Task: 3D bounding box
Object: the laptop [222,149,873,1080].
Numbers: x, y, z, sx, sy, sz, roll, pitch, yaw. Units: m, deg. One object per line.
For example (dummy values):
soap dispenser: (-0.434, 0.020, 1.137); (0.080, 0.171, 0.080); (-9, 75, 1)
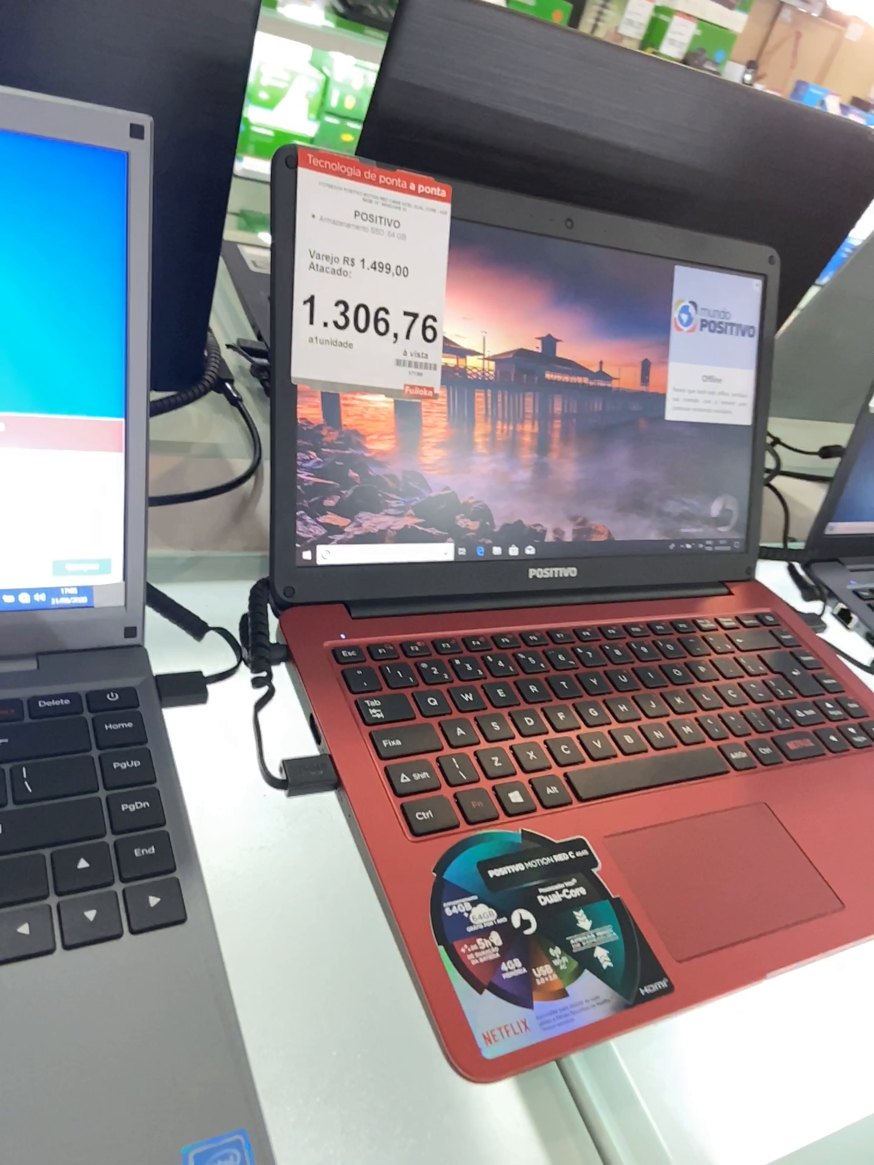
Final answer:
laptop: (0.110, -0.027, 0.413); (0.321, 0.167, 0.334); (-2, 40, -29)
